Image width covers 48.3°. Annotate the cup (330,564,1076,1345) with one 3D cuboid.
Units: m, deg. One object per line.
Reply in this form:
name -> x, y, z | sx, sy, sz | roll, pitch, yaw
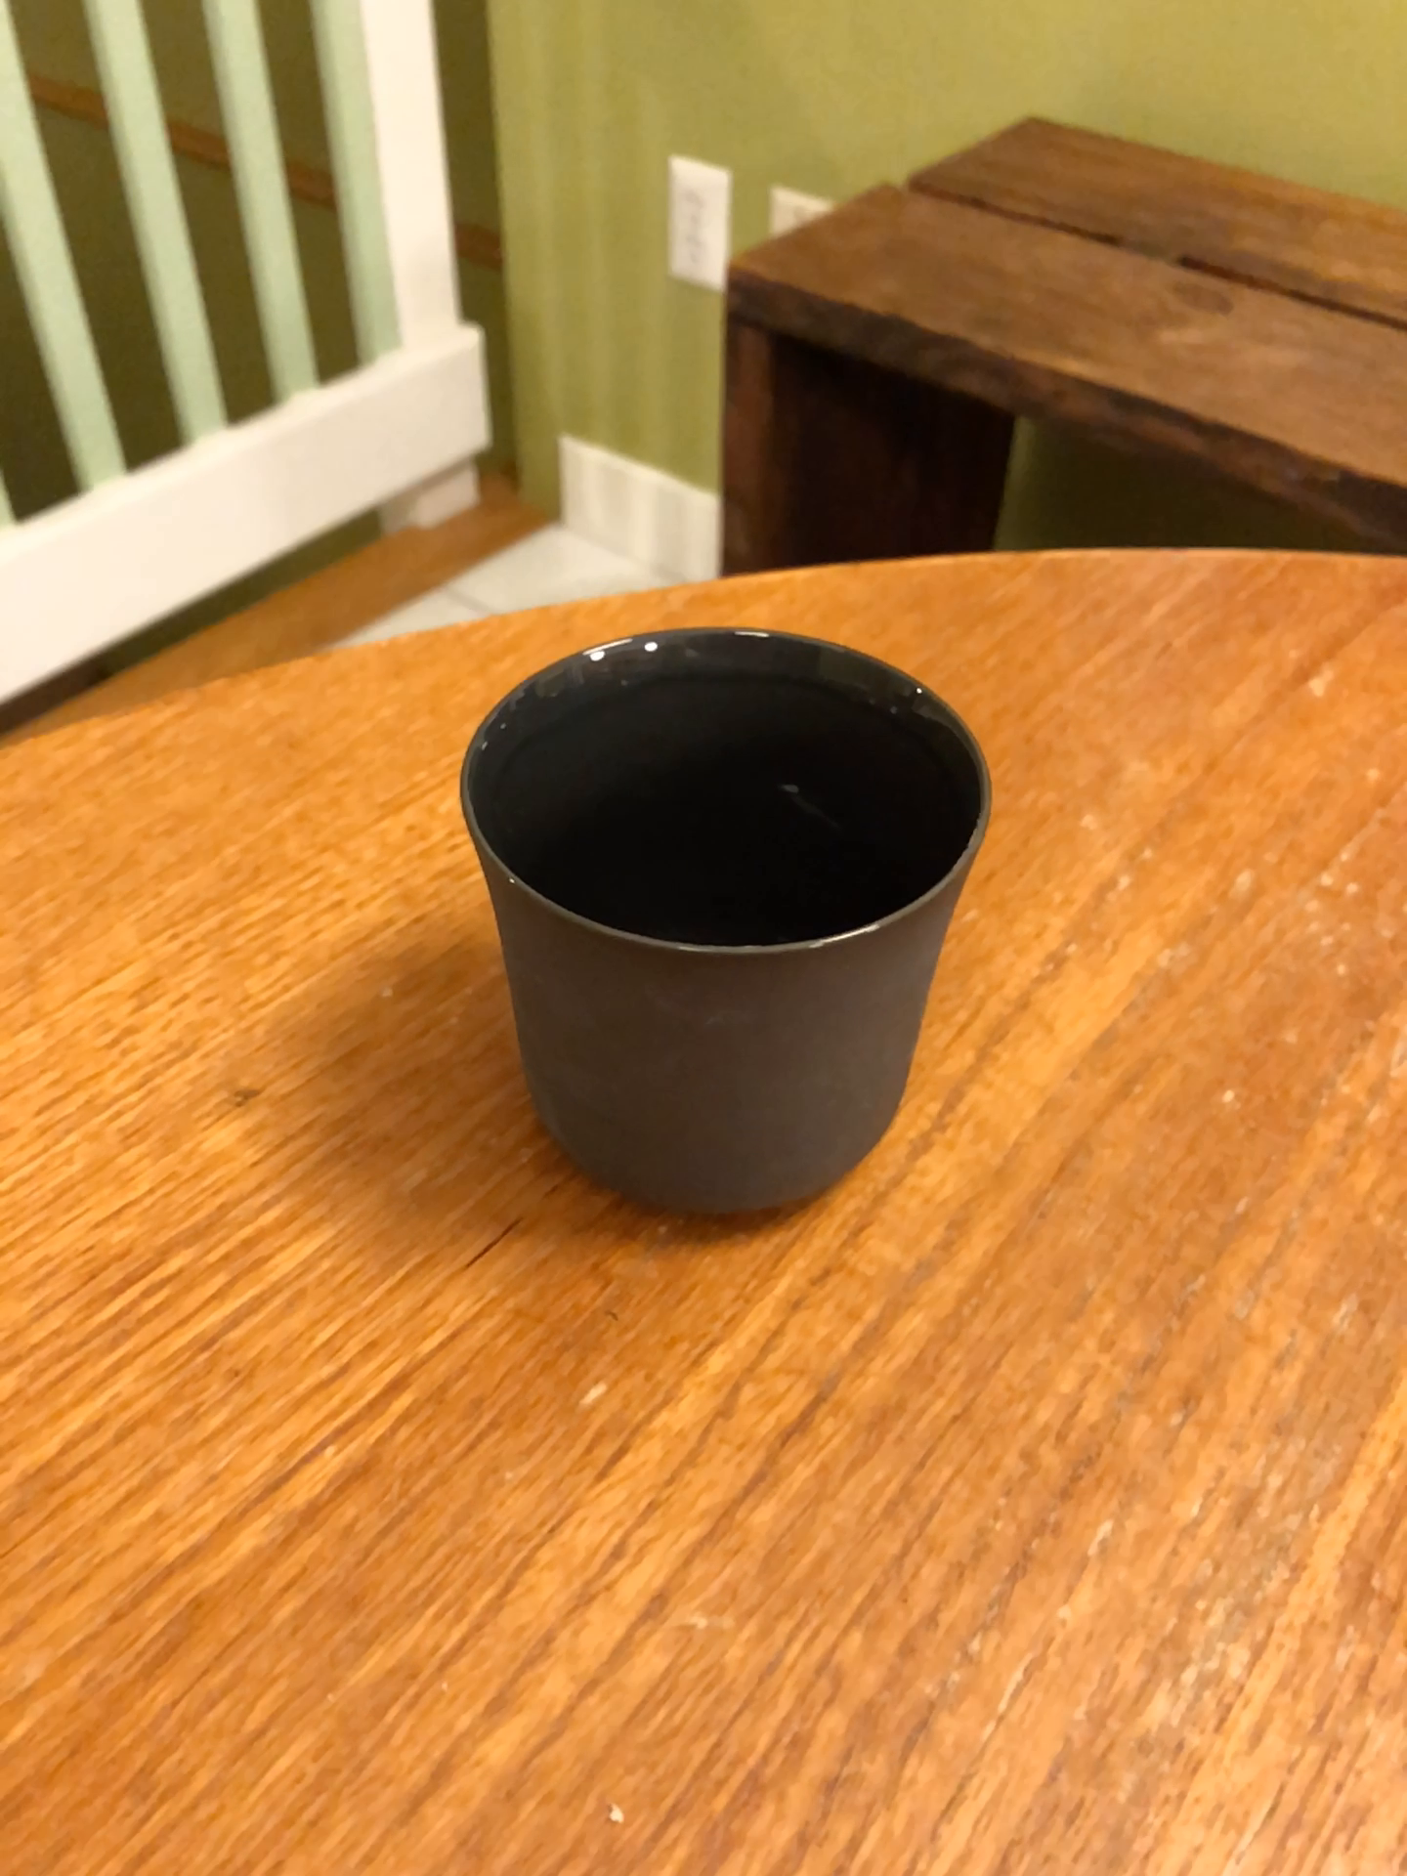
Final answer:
cup -> 0.002, -0.001, 0.245 | 0.079, 0.068, 0.075 | 1, 44, -1
